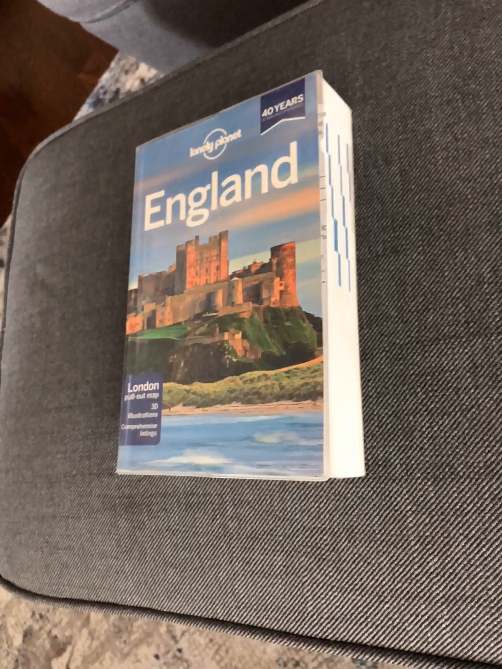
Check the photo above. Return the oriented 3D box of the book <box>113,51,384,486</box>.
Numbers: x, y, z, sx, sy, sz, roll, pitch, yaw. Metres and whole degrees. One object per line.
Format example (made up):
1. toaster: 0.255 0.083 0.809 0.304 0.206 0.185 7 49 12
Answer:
1. book: -0.007 -0.024 0.299 0.136 0.040 0.200 -10 73 36
